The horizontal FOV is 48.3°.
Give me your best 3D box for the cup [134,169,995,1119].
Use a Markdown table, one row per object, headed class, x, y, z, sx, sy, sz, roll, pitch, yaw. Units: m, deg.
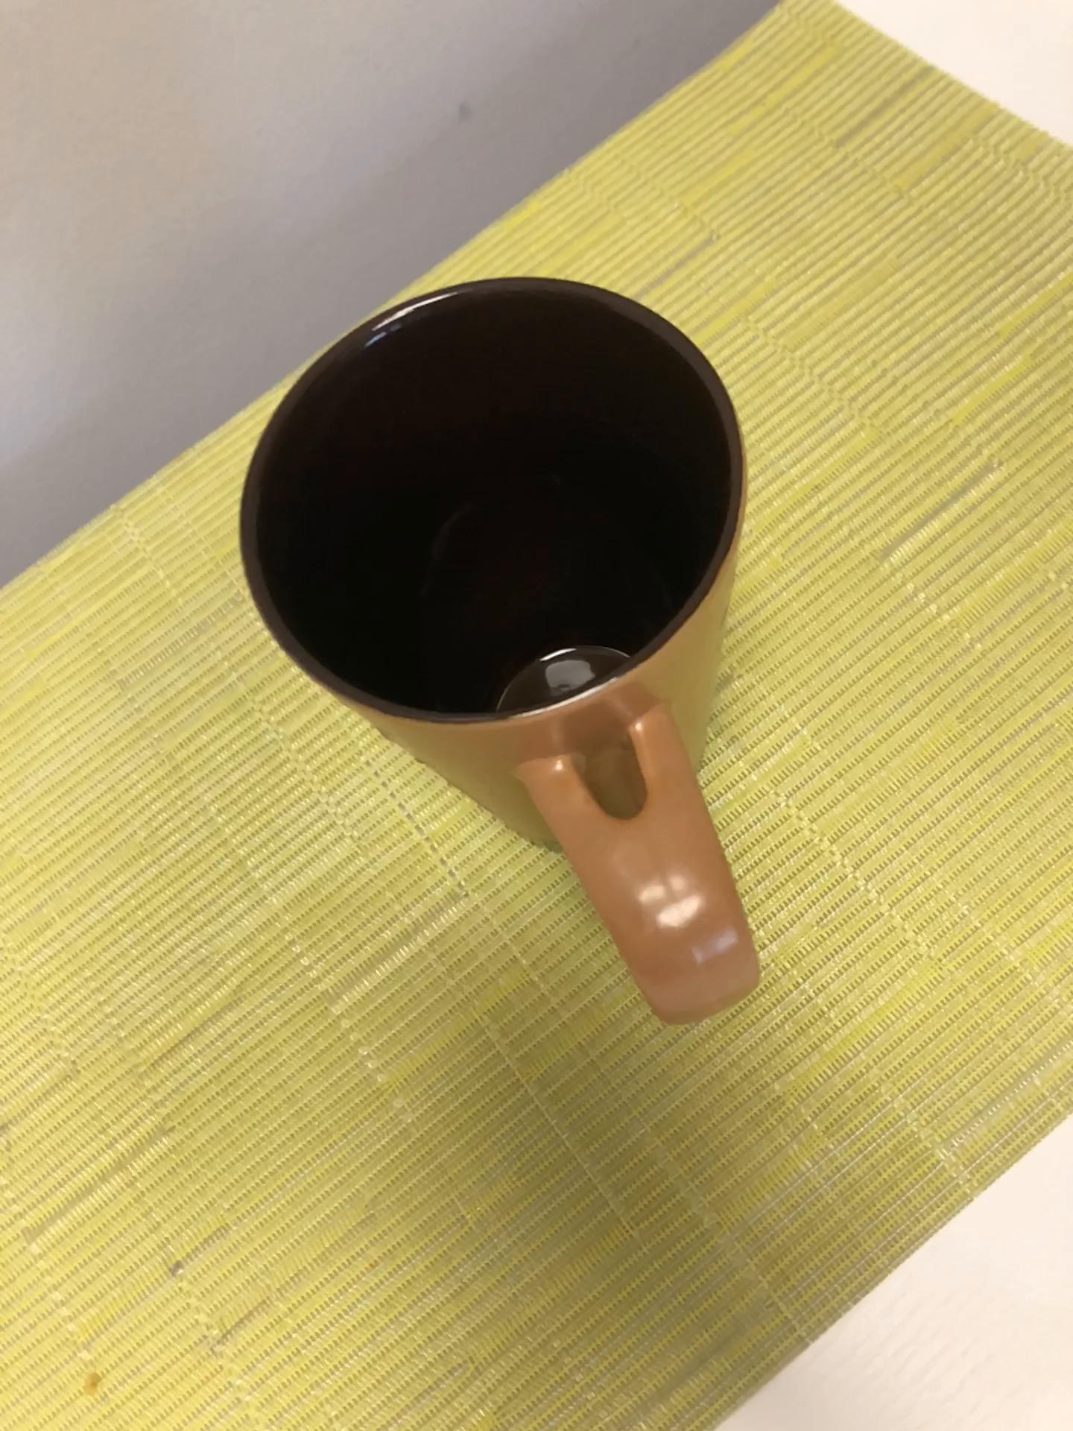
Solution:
| class | x | y | z | sx | sy | sz | roll | pitch | yaw |
| --- | --- | --- | --- | --- | --- | --- | --- | --- | --- |
| cup | 0.006 | -0.004 | 0.242 | 0.090 | 0.120 | 0.126 | -28 | 65 | -1 |
